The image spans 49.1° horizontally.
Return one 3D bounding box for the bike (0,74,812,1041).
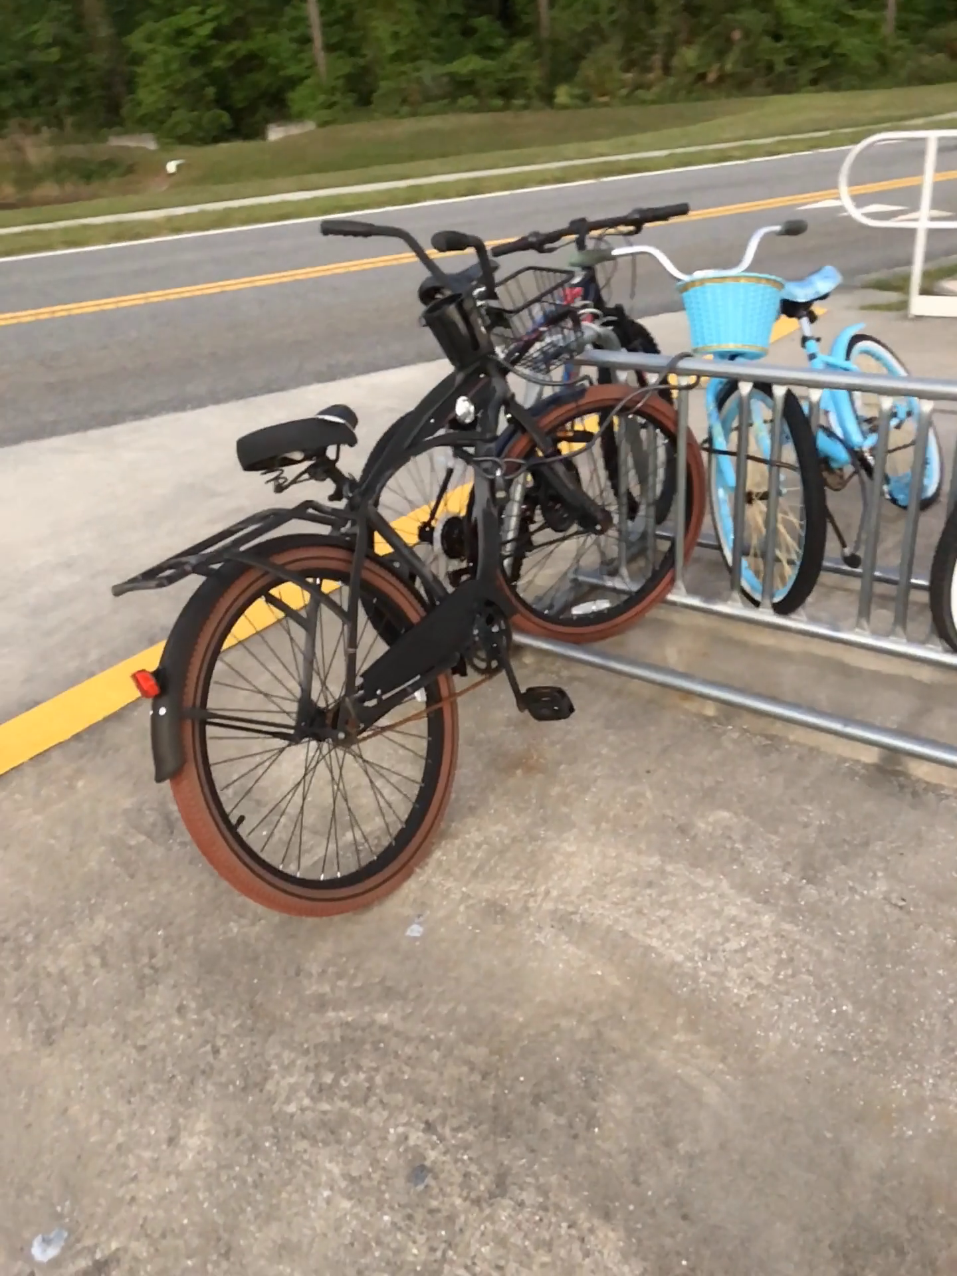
[{"bbox_3d":[-0.059,-0.361,2.213,0.830,1.117,1.727,14,38,31],"label":"bike"}]
